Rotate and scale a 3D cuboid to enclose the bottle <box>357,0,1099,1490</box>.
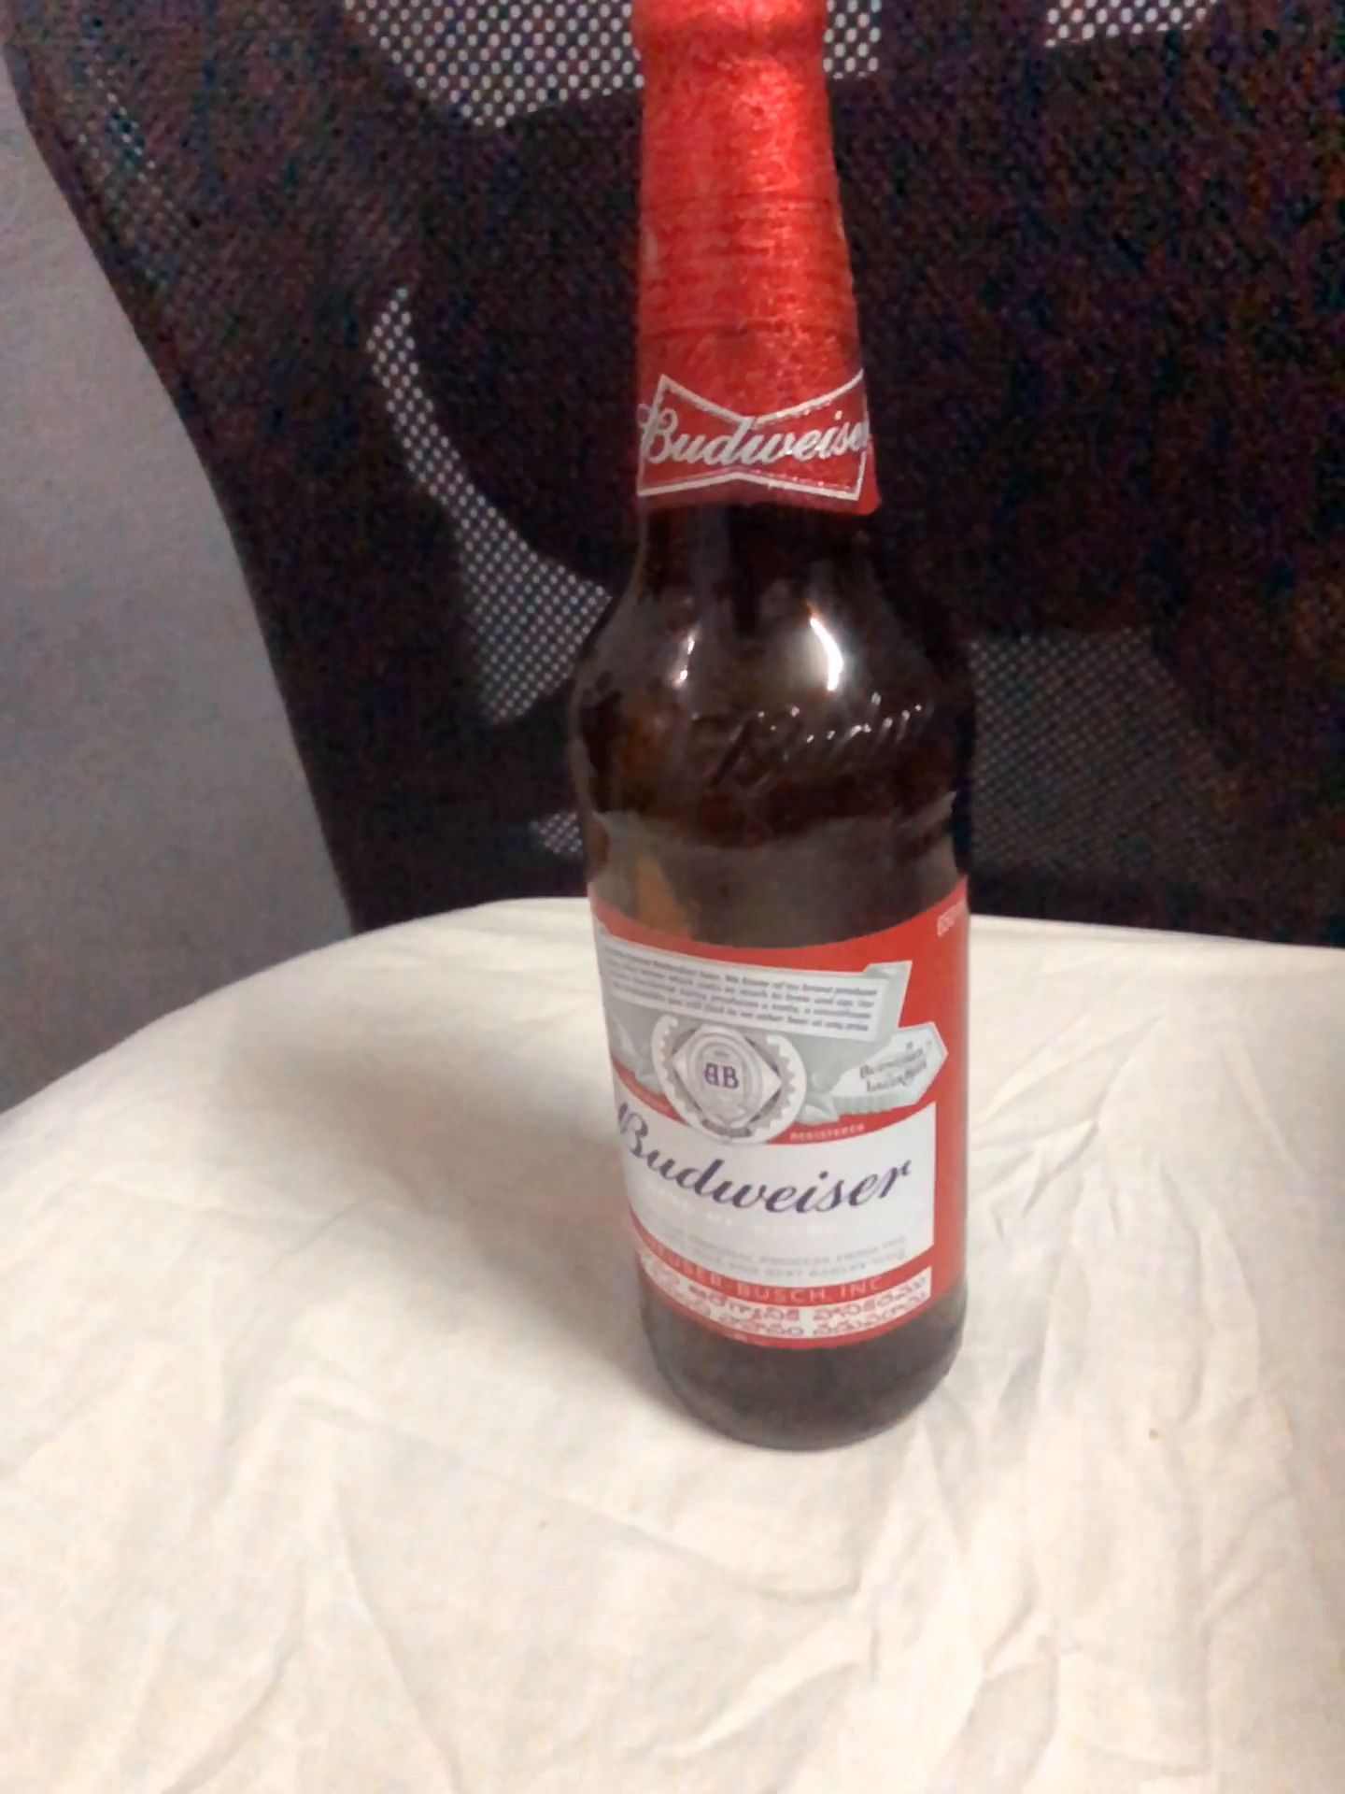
[{"bbox_3d":[0.020,-0.018,0.259,0.080,0.269,0.070,4,34,13],"label":"bottle"}]
